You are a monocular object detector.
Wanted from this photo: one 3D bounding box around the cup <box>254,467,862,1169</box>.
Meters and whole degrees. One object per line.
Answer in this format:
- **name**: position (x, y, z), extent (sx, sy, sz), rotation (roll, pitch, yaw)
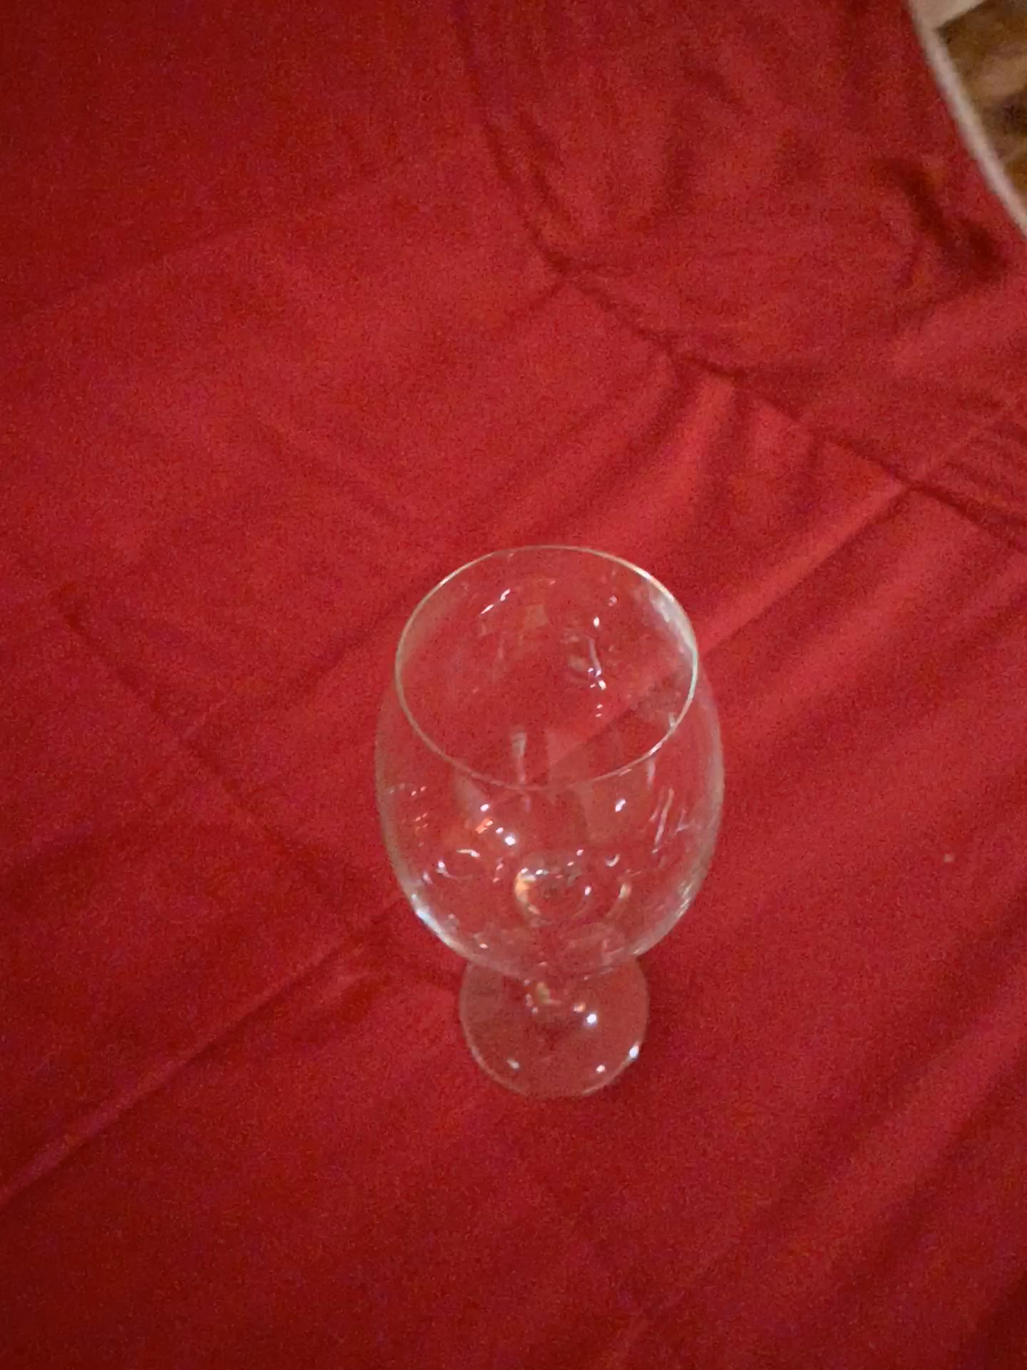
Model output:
- **cup**: position (0.010, 0.065, 0.325), extent (0.094, 0.246, 0.083), rotation (-36, 65, -19)
